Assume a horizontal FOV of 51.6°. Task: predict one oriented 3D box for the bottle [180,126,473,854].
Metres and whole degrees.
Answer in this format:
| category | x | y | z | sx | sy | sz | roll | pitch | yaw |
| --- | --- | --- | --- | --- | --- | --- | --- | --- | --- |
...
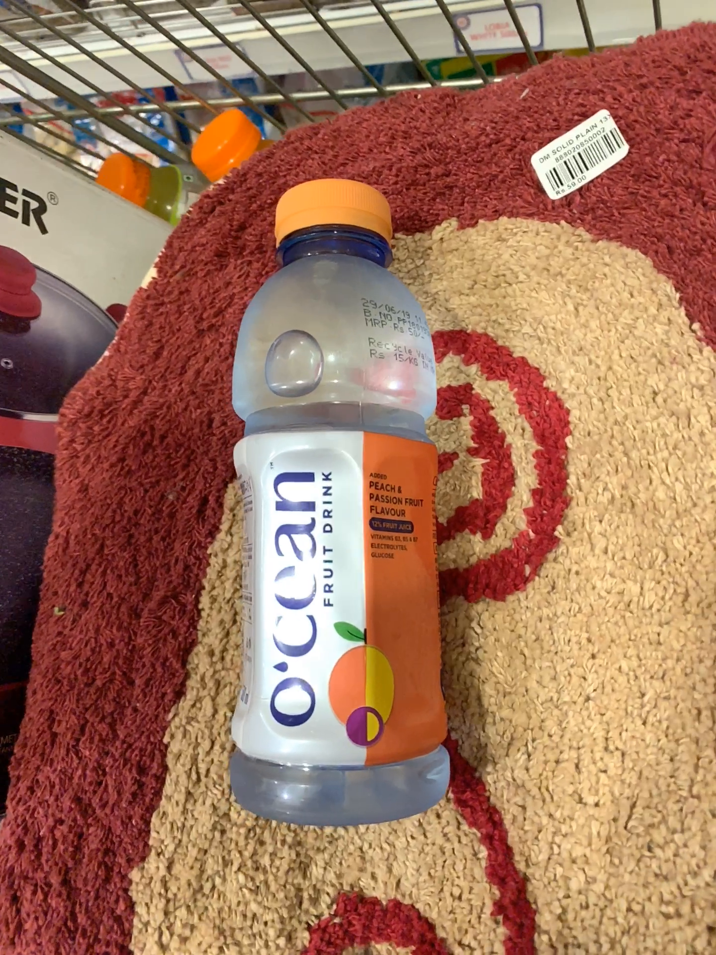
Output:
| category | x | y | z | sx | sy | sz | roll | pitch | yaw |
| --- | --- | --- | --- | --- | --- | --- | --- | --- | --- |
| bottle | -0.007 | 0.003 | 0.222 | 0.070 | 0.060 | 0.180 | -2 | 87 | 17 |
